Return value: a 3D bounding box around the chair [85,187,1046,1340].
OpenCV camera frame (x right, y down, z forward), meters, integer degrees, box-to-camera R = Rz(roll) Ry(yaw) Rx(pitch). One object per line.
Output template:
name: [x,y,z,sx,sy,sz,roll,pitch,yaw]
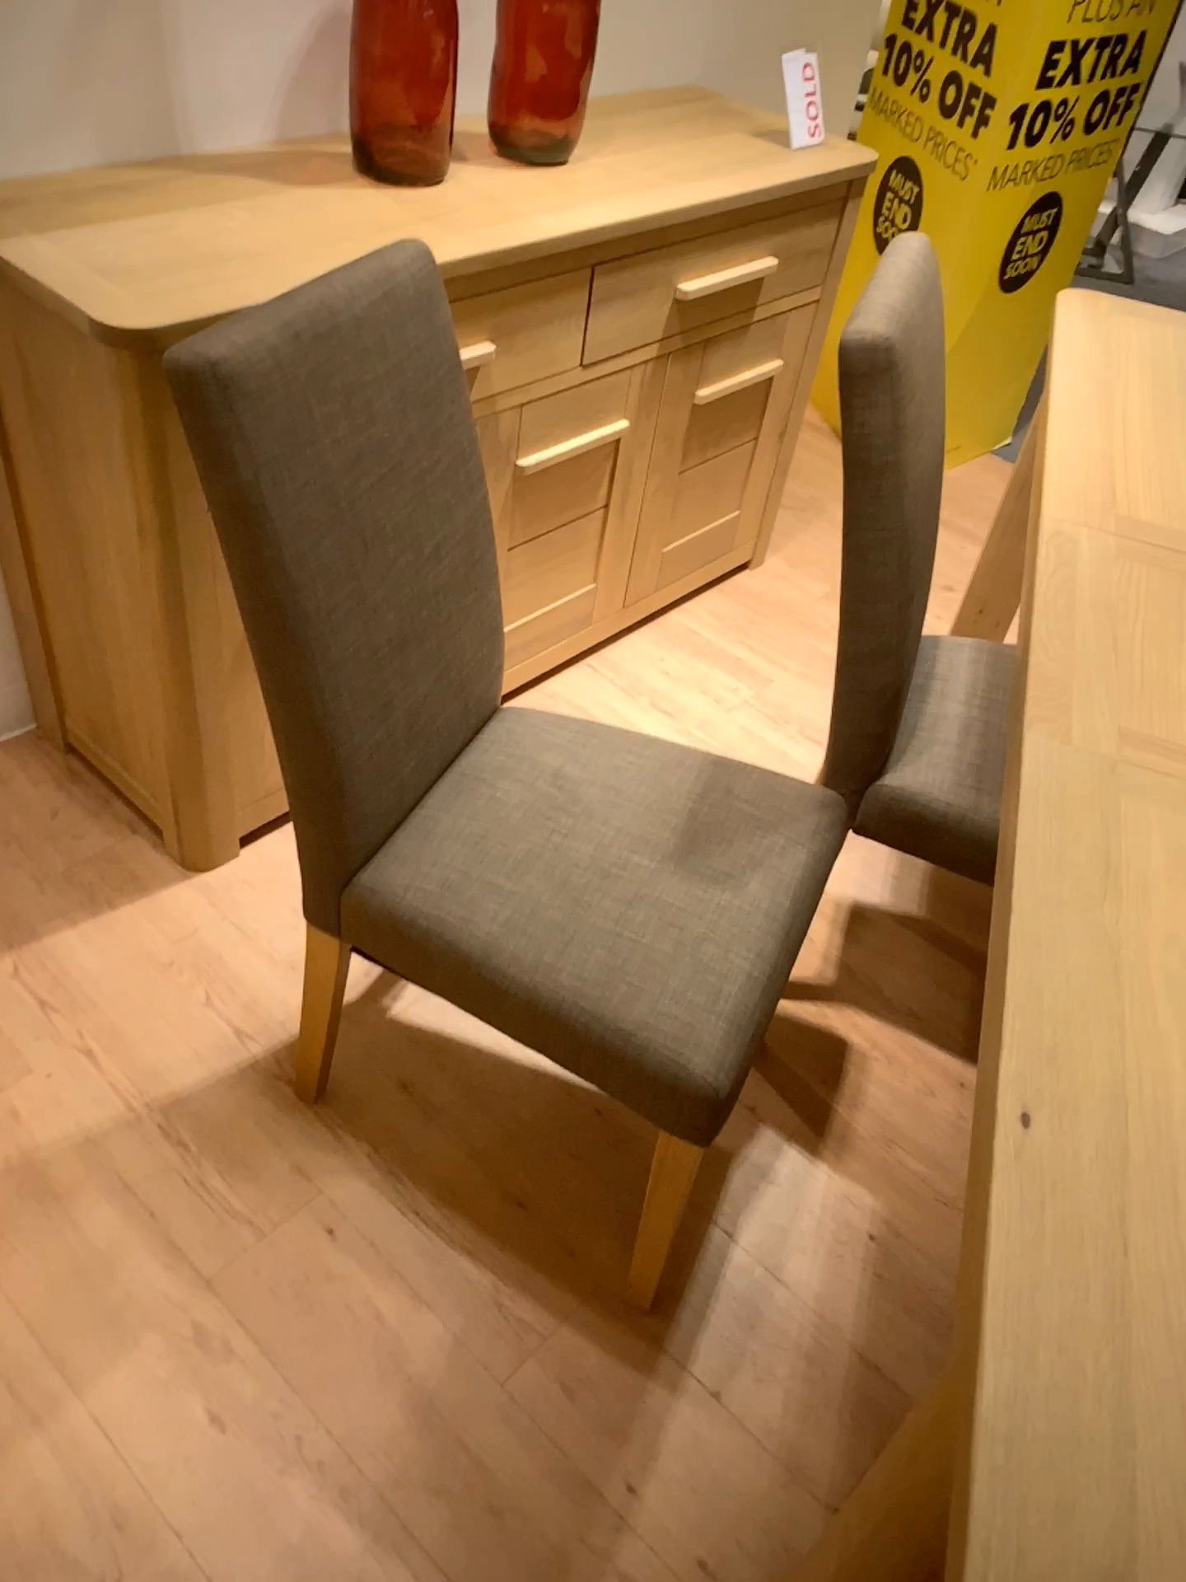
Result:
chair: [-0.042,0.003,1.264,0.611,0.951,0.494,22,43,14]
